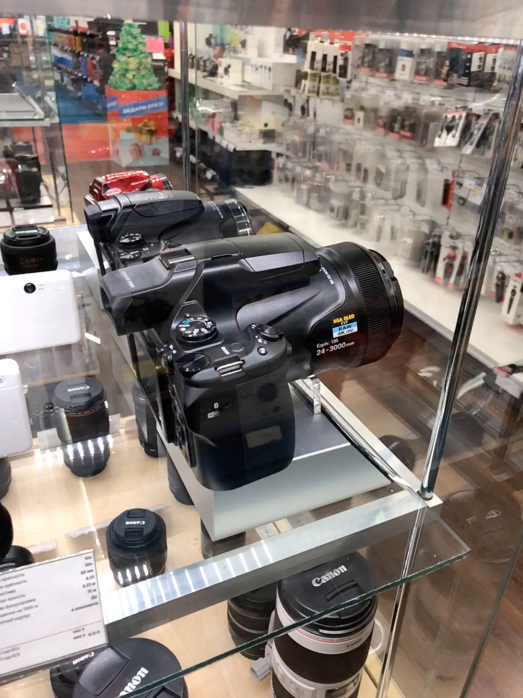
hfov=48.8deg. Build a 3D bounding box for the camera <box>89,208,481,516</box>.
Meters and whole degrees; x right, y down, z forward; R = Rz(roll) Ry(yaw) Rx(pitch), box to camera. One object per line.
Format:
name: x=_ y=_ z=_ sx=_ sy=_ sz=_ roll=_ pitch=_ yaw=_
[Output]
camera: x=0.004 y=-0.011 z=0.395 sx=0.200 sy=0.113 sz=0.161 roll=-11 pitch=32 yaw=-23
